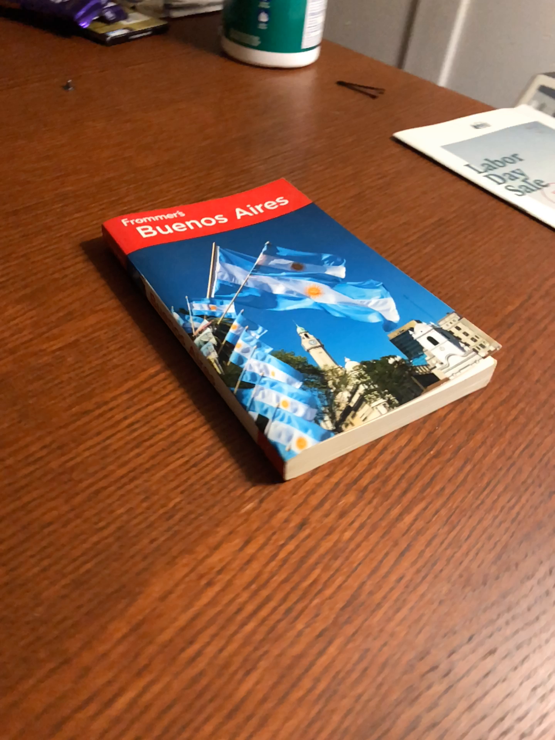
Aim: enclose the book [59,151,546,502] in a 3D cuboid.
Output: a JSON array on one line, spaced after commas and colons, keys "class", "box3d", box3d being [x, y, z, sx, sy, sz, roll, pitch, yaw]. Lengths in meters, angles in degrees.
[{"class": "book", "box3d": [0.003, -0.050, 0.331, 0.160, 0.020, 0.221, -22, 51, -29]}]
